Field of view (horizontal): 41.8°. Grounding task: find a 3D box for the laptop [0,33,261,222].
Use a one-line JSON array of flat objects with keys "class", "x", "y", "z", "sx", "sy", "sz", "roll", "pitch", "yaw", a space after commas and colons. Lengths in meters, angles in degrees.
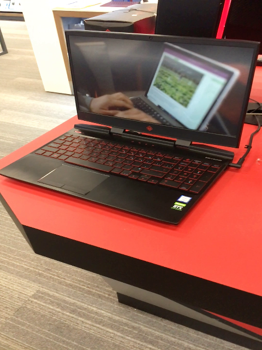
[{"class": "laptop", "x": -0.021, "y": -0.107, "z": 0.629, "sx": 0.366, "sy": 0.223, "sz": 0.252, "roll": 17, "pitch": 44, "yaw": 25}]
